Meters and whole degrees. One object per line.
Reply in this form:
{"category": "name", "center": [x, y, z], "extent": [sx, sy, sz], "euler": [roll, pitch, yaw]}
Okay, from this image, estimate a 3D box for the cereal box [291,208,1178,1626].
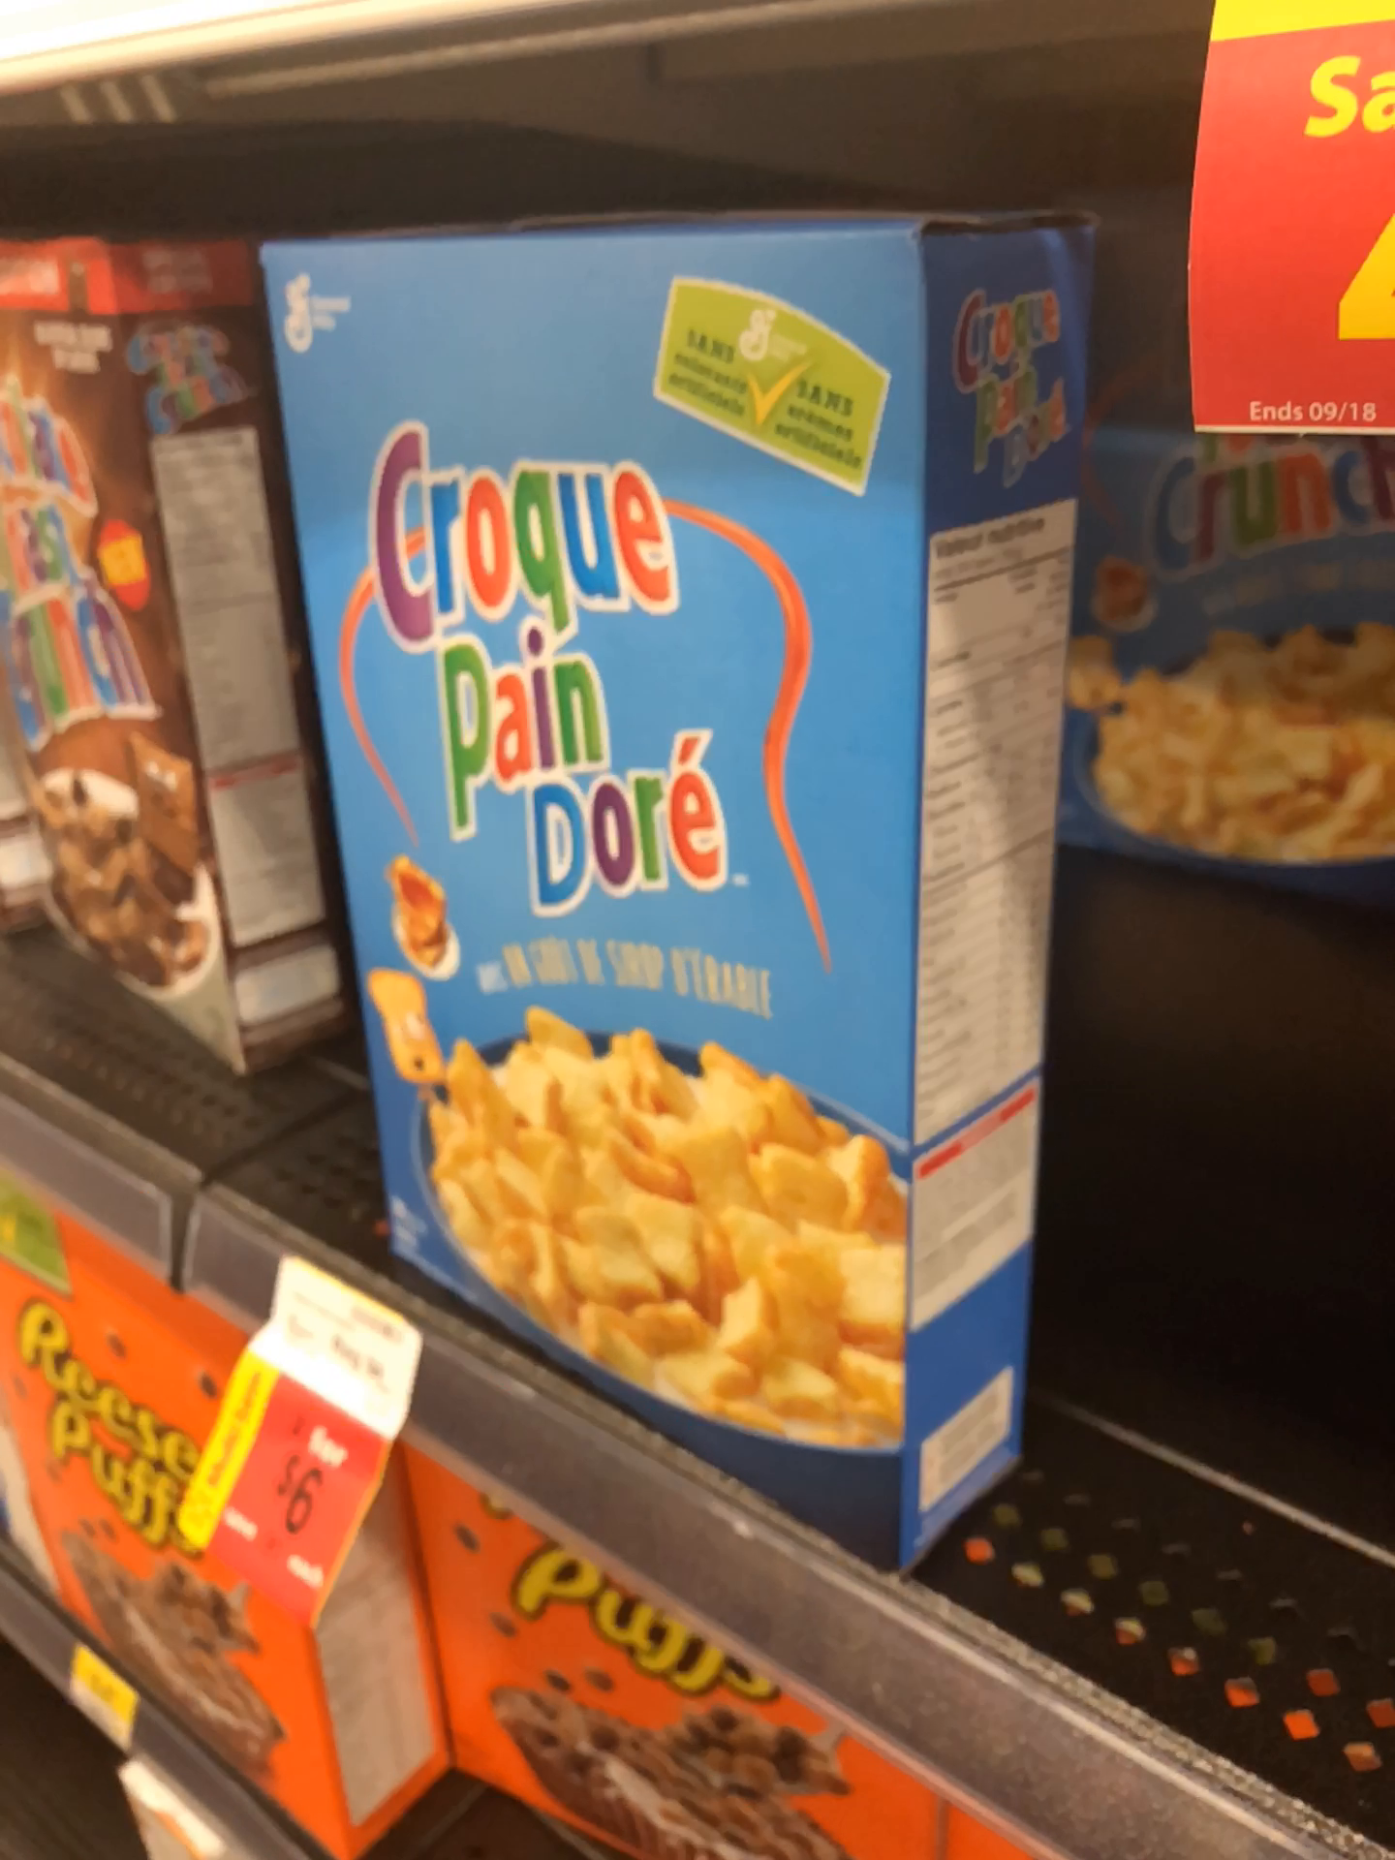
{"category": "cereal box", "center": [-0.003, -0.012, 0.388], "extent": [0.201, 0.298, 0.060], "euler": [21, 31, 40]}
